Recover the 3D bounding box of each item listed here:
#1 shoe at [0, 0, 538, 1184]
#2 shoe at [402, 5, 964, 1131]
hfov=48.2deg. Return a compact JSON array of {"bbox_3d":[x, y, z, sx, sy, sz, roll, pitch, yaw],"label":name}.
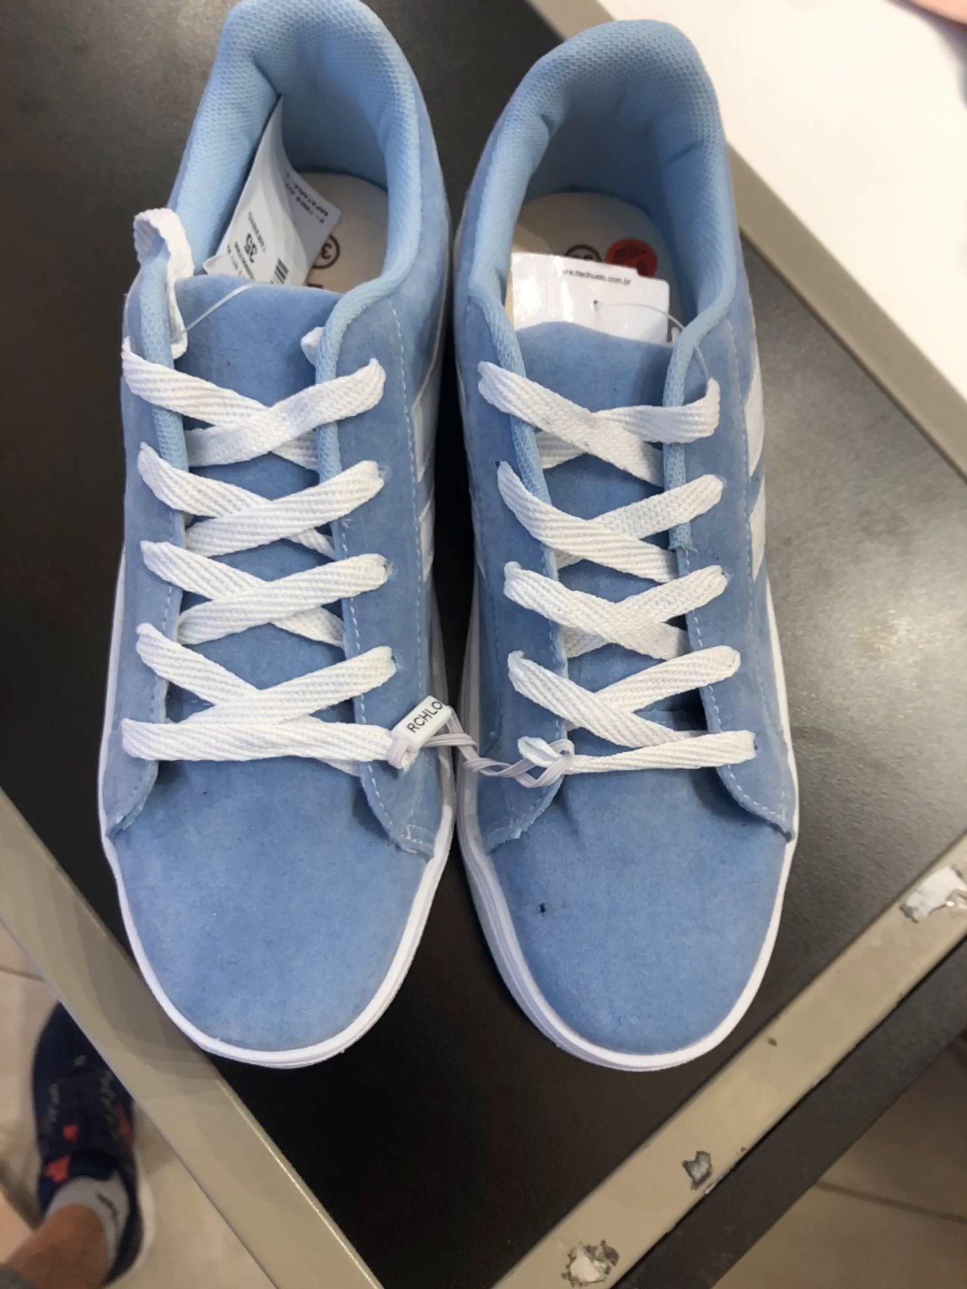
[{"bbox_3d":[-0.044,-0.017,0.262,0.100,0.120,0.240,1,78,-4],"label":"shoe"},{"bbox_3d":[0.032,-0.018,0.285,0.100,0.120,0.240,-1,78,-5],"label":"shoe"}]
